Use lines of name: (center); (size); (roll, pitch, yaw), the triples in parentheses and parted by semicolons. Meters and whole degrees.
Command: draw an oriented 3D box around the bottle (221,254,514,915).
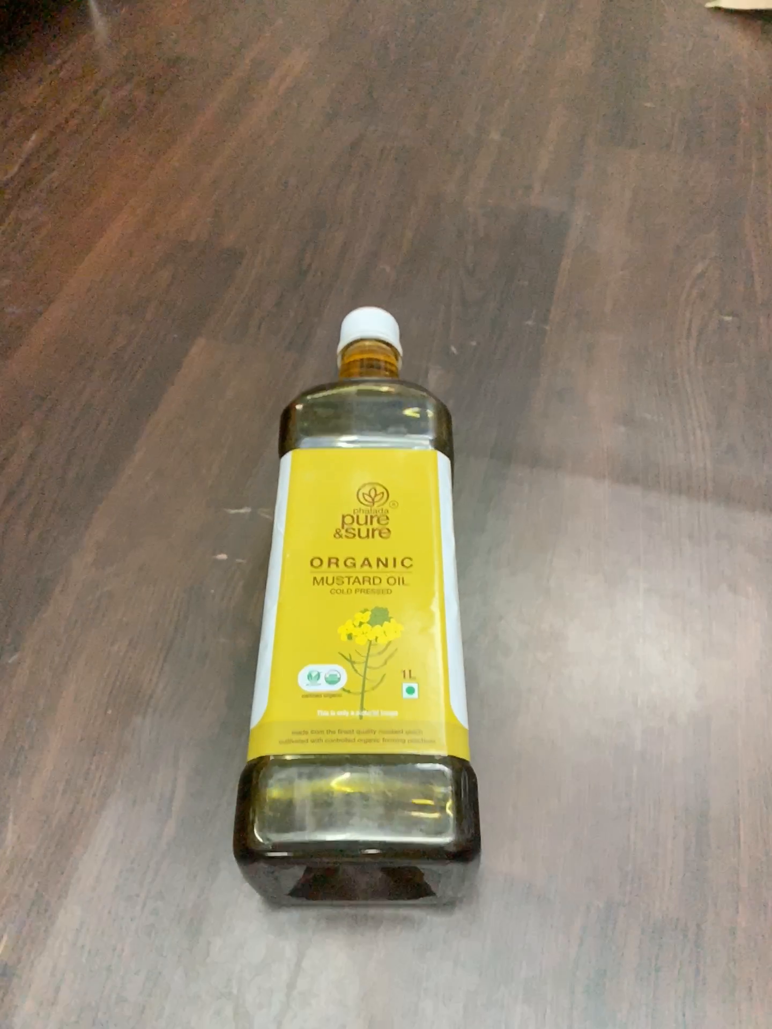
bottle: (-0.003, 0.009, 0.331); (0.080, 0.080, 0.271); (1, 53, 1)
